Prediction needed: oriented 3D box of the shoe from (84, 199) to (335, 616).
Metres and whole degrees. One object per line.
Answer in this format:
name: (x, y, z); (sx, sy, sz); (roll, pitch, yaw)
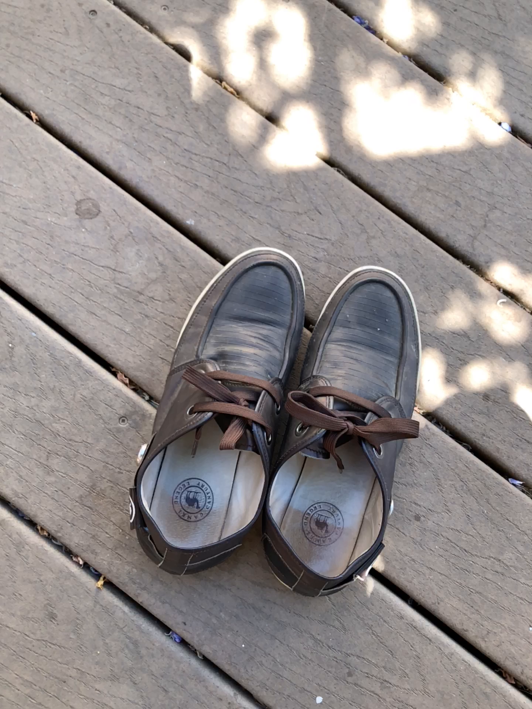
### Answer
shoe: (-0.040, 0.039, 0.488); (0.107, 0.115, 0.287); (16, 81, -1)

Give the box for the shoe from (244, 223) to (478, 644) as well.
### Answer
shoe: (0.073, 0.058, 0.484); (0.107, 0.105, 0.289); (15, 81, -1)
